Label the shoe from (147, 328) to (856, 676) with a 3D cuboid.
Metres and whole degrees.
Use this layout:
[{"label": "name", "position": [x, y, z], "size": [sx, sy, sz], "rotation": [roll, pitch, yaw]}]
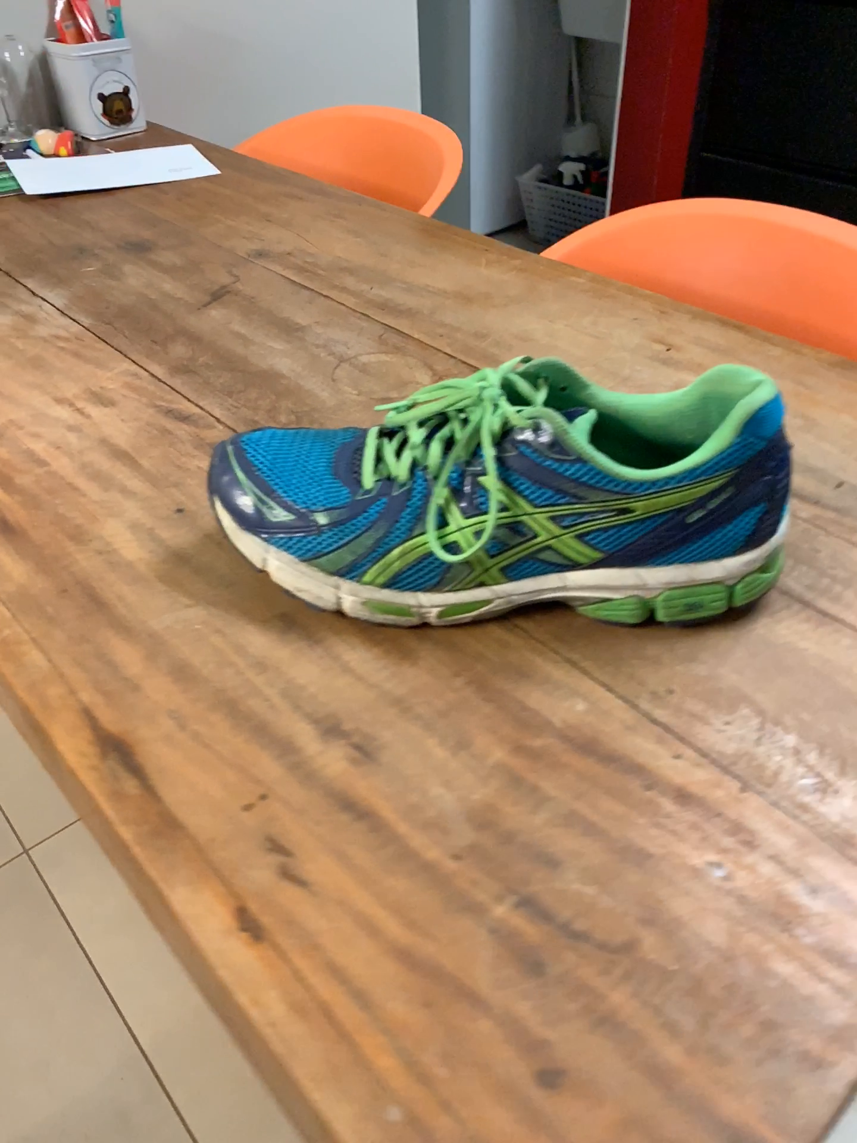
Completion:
[{"label": "shoe", "position": [0.034, -0.040, 0.448], "size": [0.300, 0.119, 0.111], "rotation": [4, 41, 8]}]
